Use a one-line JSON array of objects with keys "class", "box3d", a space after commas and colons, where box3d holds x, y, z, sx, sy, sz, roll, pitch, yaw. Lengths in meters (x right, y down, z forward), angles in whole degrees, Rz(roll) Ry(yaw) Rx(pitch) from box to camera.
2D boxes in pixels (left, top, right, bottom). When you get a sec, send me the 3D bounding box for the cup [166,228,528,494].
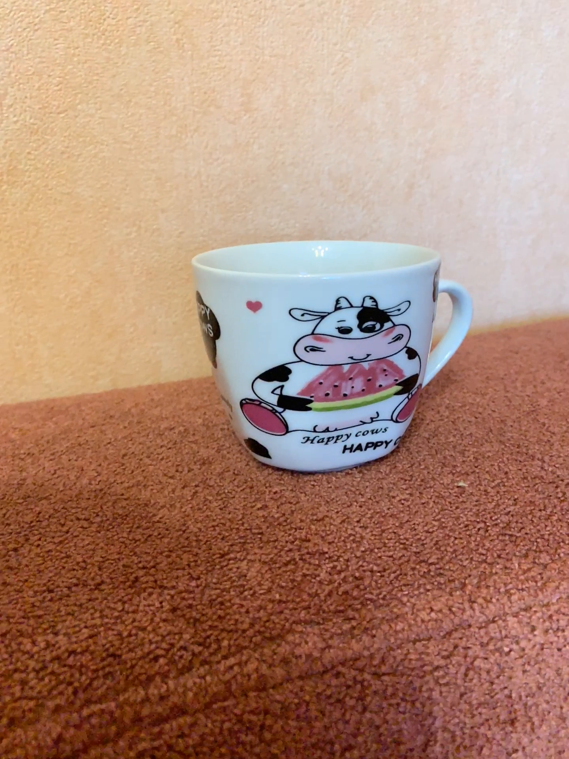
[{"class": "cup", "box3d": [0.013, -0.014, 0.202, 0.094, 0.056, 0.079, -7, 22, -13]}]
